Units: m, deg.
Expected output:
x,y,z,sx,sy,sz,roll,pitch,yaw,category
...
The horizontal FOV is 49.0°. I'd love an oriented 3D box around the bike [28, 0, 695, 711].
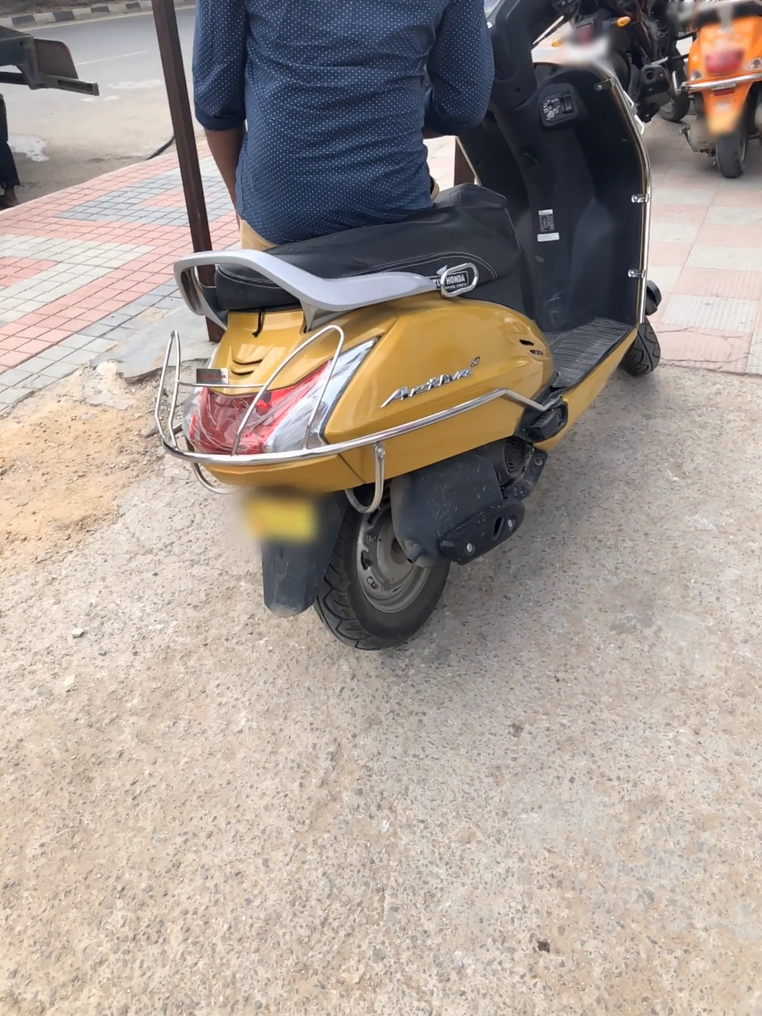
x,y,z,sx,sy,sz,roll,pitch,yaw,category
0.135,-0.634,1.853,0.584,1.153,1.537,15,41,23,bike
